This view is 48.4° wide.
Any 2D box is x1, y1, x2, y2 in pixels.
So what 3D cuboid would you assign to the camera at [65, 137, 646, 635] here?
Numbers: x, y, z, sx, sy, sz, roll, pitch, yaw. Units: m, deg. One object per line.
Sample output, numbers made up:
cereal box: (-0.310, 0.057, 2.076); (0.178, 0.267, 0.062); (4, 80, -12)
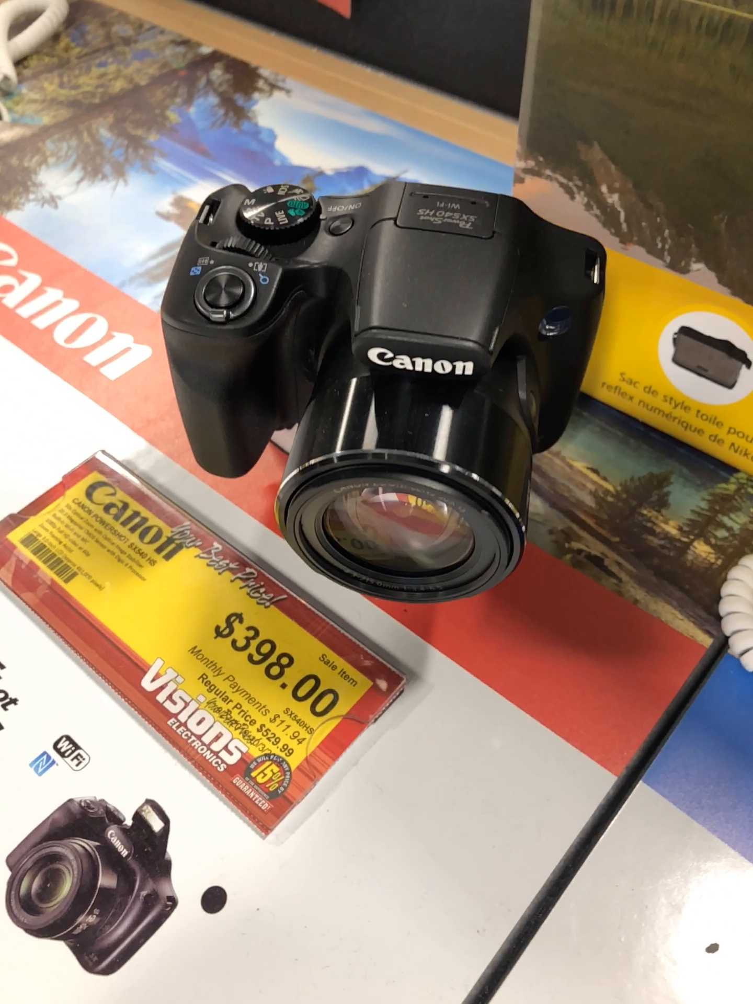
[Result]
camera: (0.002, -0.034, 0.231); (0.120, 0.080, 0.090); (10, 51, 9)
